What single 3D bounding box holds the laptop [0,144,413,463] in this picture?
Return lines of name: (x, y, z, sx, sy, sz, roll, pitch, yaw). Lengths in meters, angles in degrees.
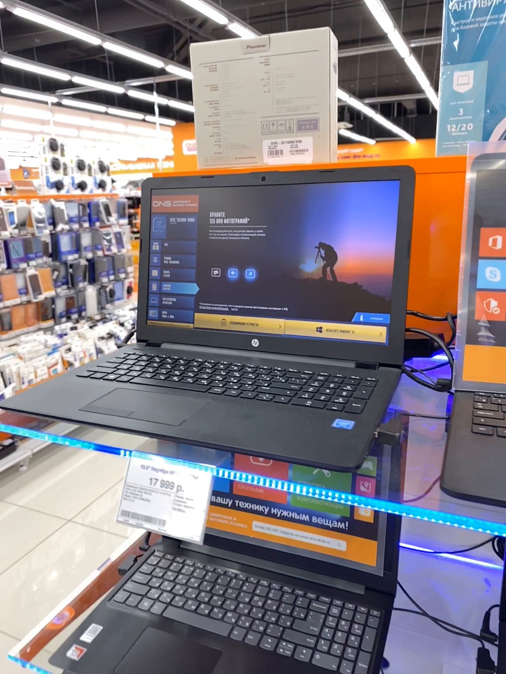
laptop: (-0.038, -0.070, 0.600, 0.389, 0.236, 0.323, 5, 15, 23)
